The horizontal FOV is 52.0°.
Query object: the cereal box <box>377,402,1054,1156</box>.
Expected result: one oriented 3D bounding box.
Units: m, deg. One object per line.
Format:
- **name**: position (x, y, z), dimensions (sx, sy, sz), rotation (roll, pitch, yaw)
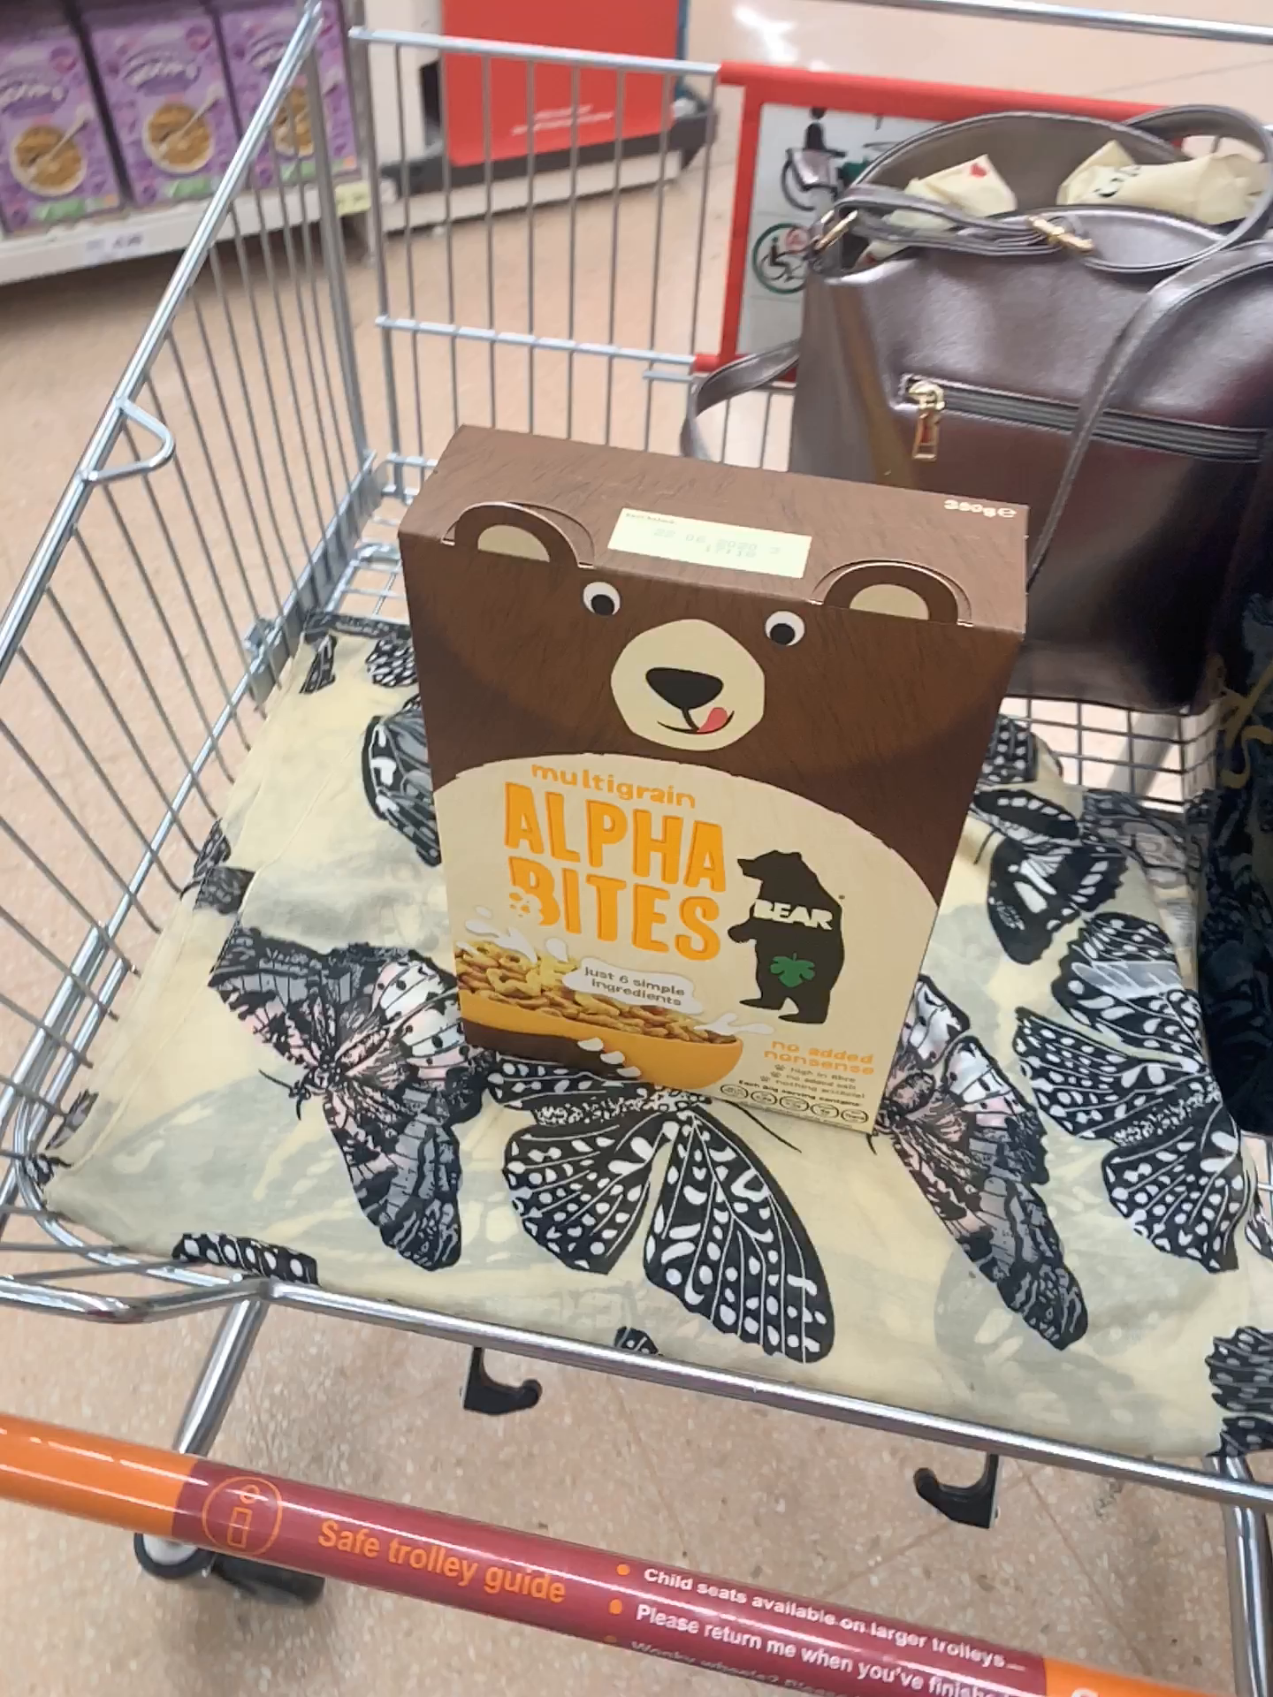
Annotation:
- **cereal box**: position (0.021, -0.006, 0.512), dimensions (0.200, 0.297, 0.071), rotation (11, 48, 6)
